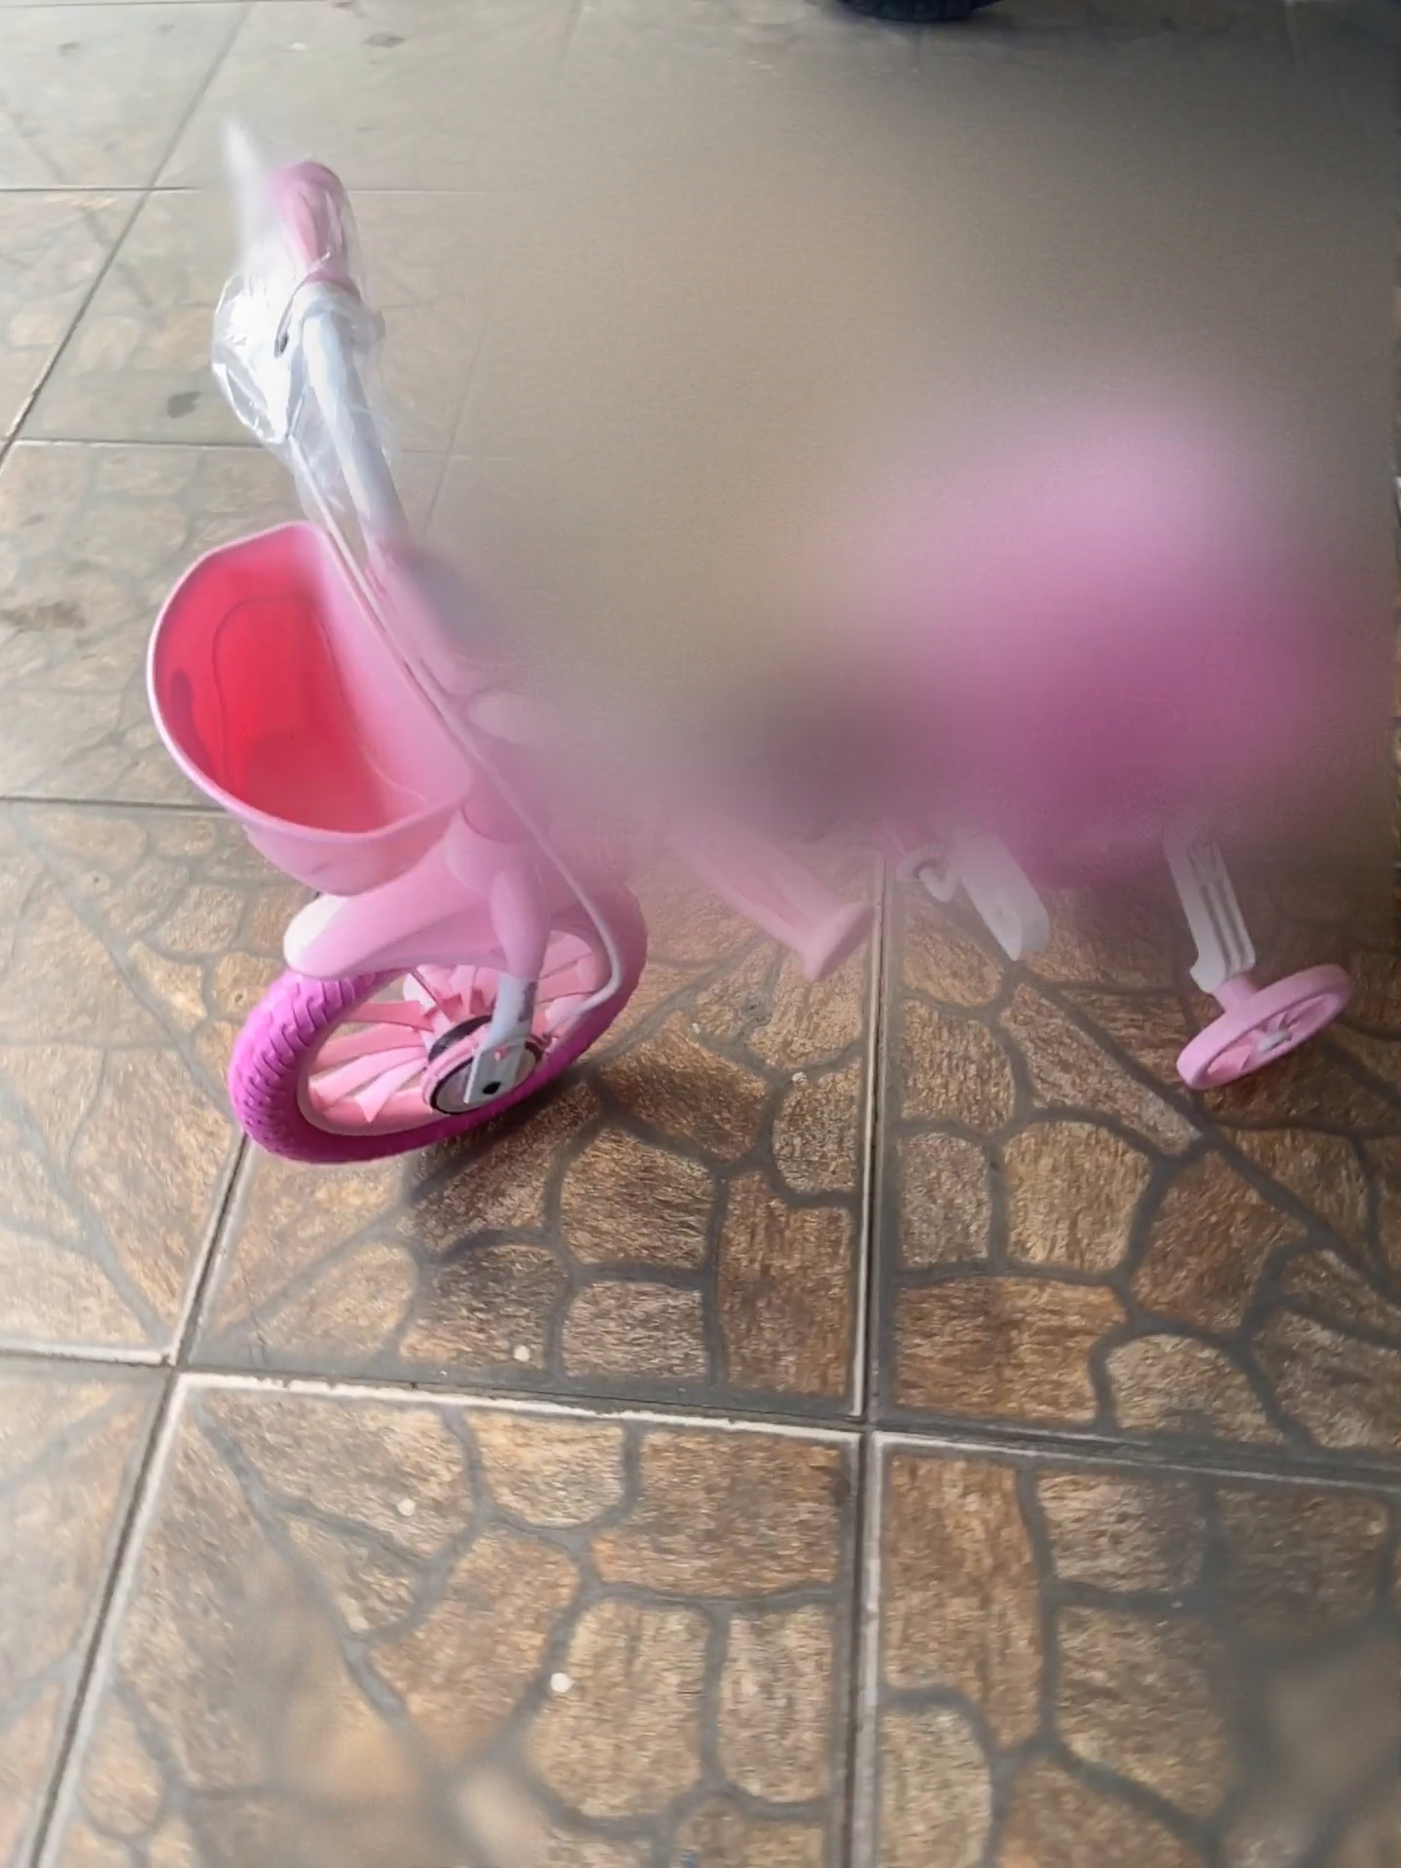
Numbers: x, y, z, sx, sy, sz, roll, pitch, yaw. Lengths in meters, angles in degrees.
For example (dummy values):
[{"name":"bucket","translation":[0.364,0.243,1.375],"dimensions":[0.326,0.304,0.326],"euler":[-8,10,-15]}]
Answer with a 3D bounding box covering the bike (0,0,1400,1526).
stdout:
[{"name":"bike","translation":[0.060,-0.106,0.859],"dimensions":[0.792,0.563,0.512],"euler":[-21,59,-10]}]
